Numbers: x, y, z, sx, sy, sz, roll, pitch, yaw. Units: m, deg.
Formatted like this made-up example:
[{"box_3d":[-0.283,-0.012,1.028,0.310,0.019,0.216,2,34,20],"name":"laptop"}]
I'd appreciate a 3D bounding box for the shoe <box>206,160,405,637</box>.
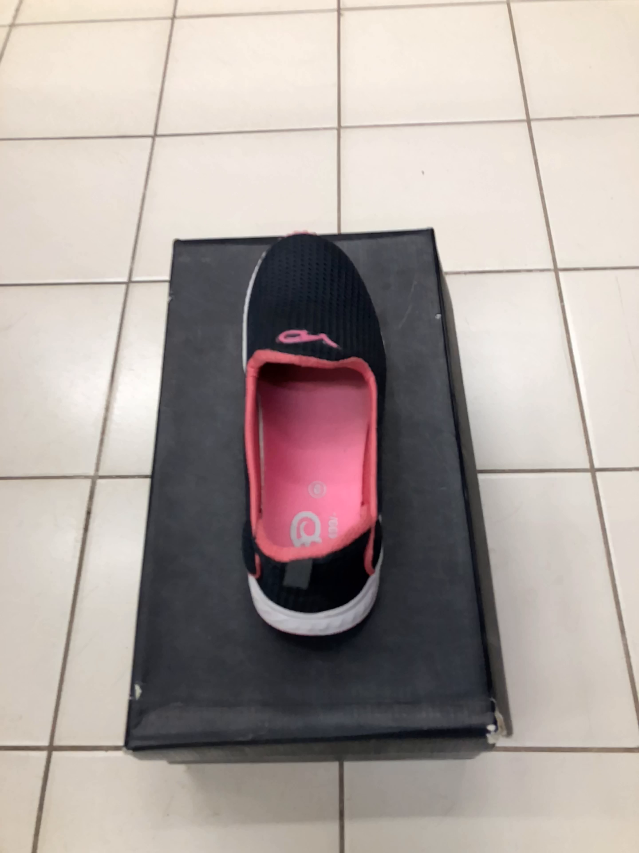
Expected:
[{"box_3d":[-0.005,-0.022,0.420,0.090,0.100,0.271,-2,63,2],"name":"shoe"}]
